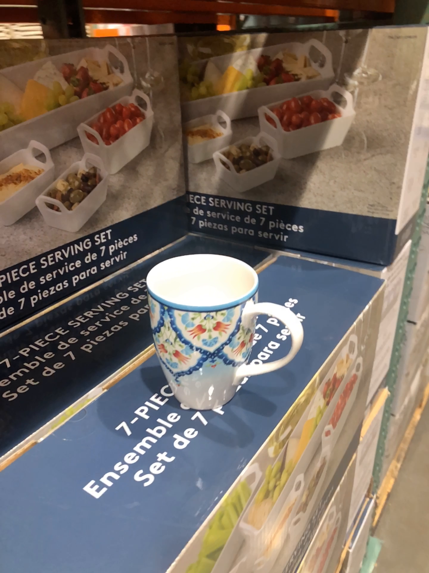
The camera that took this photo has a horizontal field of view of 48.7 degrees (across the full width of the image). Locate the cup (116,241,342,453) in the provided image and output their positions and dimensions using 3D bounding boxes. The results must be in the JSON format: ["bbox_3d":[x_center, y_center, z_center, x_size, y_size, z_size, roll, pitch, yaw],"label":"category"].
[{"bbox_3d":[0.012,0.036,0.363,0.136,0.096,0.090,14,31,30],"label":"cup"}]
